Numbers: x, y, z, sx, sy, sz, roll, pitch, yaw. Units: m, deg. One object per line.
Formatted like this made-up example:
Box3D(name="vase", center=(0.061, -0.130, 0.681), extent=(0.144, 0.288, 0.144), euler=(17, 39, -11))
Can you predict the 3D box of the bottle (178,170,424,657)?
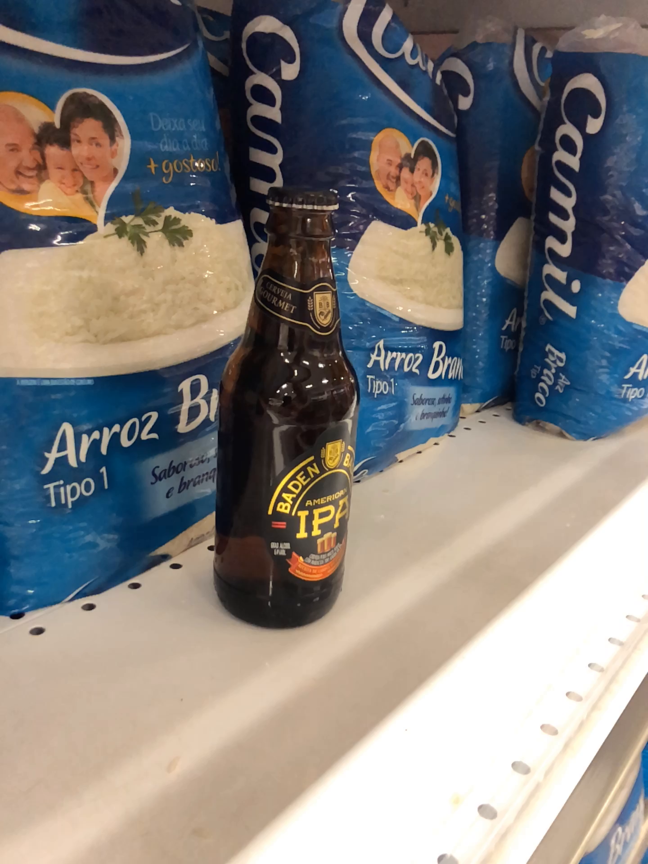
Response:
Box3D(name="bottle", center=(-0.015, -0.010, 0.313), extent=(0.070, 0.189, 0.060), euler=(-13, 27, -41))
